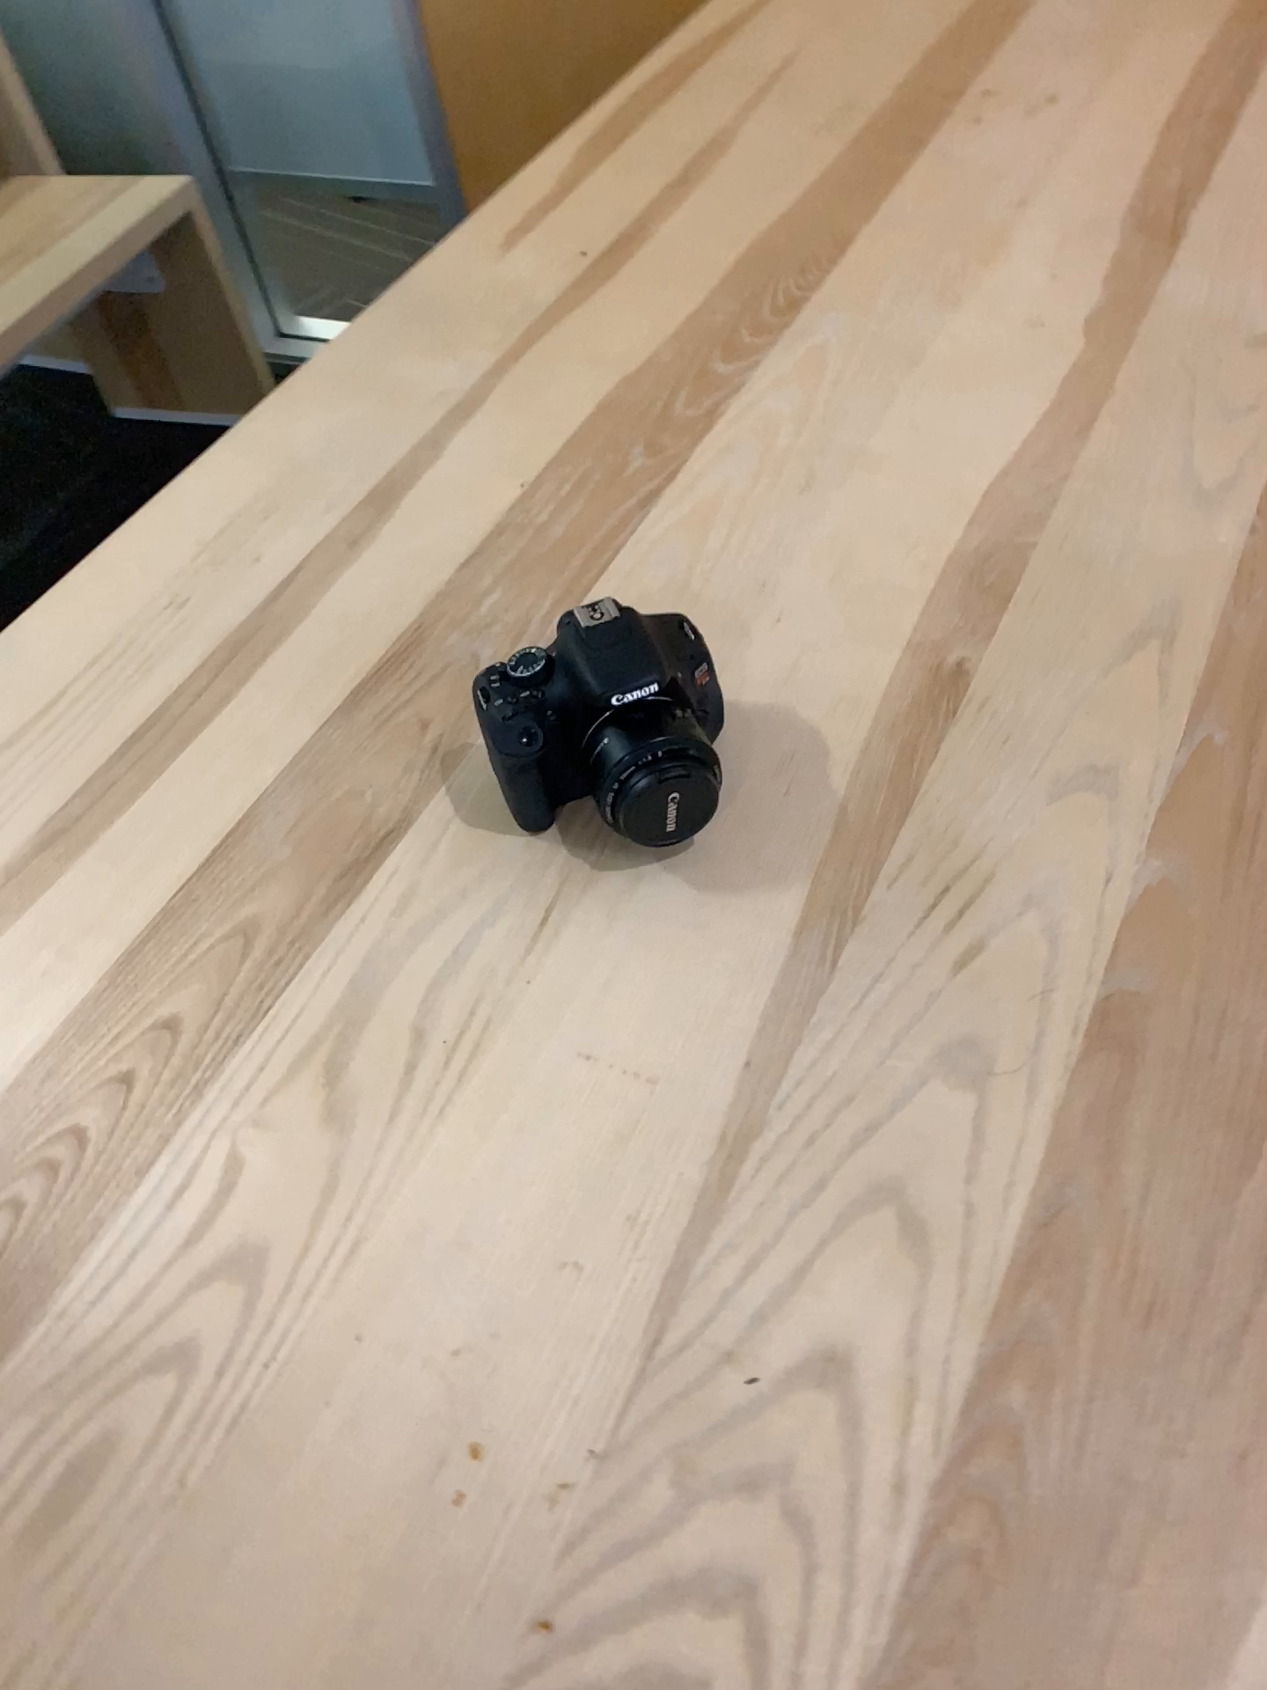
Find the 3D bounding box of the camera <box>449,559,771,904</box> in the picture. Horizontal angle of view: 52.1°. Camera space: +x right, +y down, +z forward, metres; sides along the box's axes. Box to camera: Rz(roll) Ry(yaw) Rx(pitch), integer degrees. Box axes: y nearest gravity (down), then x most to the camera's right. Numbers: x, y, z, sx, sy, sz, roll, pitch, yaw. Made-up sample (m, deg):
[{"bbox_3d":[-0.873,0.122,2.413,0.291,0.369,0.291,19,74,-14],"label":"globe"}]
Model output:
[{"bbox_3d":[-0.013,-0.063,0.692,0.127,0.089,0.127,-20,48,-6],"label":"camera"}]
